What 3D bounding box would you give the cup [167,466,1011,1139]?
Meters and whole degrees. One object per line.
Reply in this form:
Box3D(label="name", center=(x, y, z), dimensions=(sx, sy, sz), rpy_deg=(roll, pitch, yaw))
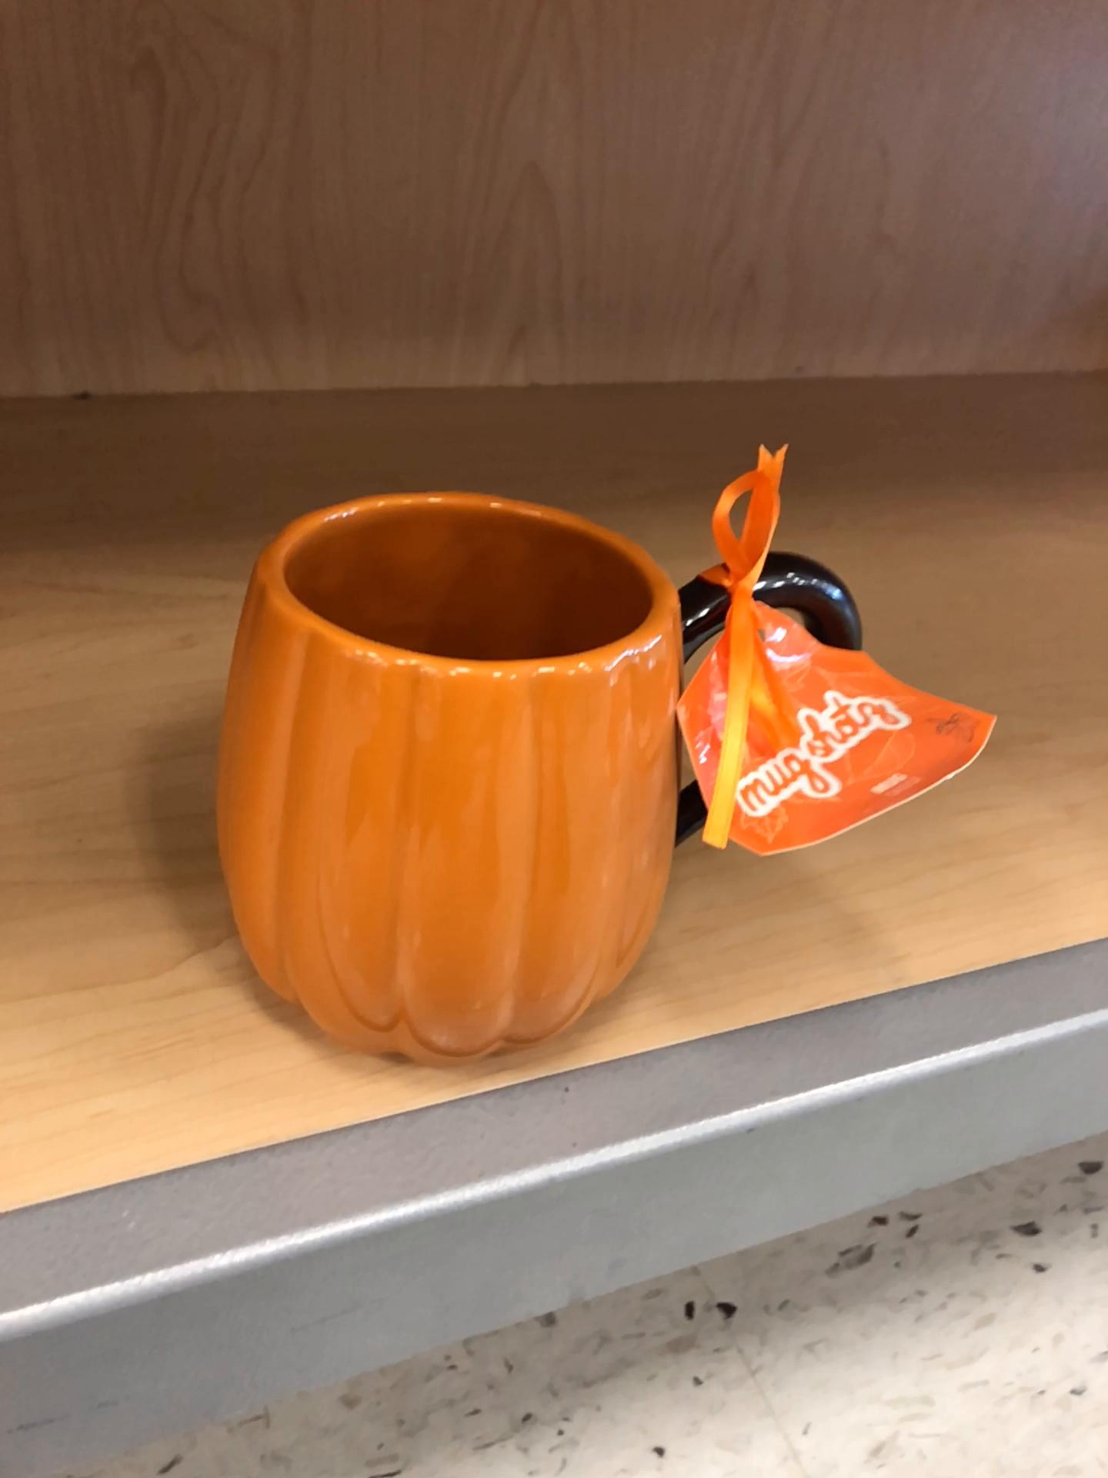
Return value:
Box3D(label="cup", center=(0.001, 0.004, 0.257), dimensions=(0.140, 0.089, 0.080), rpy_deg=(-8, 37, -22))
